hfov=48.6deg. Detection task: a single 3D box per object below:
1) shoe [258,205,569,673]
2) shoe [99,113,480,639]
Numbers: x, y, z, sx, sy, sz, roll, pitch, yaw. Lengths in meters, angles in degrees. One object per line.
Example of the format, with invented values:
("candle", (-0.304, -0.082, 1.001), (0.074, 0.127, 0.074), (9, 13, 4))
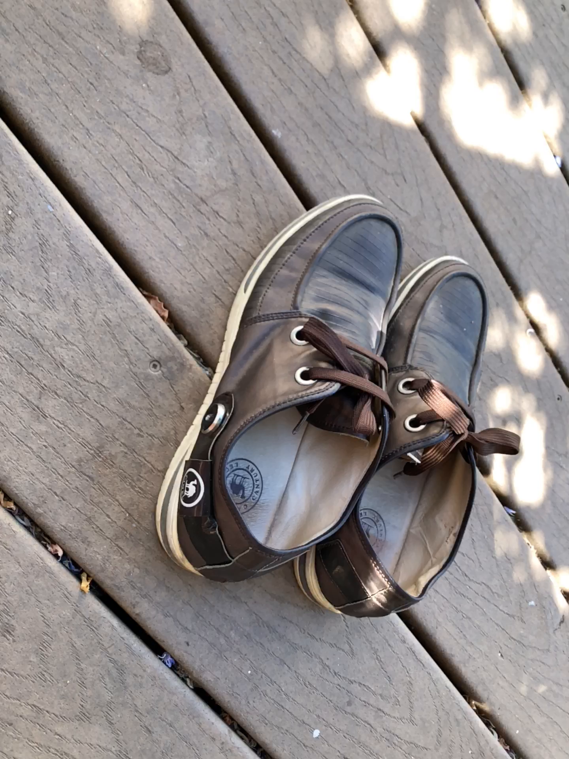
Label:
("shoe", (0.103, 0.036, 0.461), (0.107, 0.105, 0.289), (31, 72, -27))
("shoe", (0.008, -0.006, 0.413), (0.107, 0.115, 0.288), (31, 72, -27))
